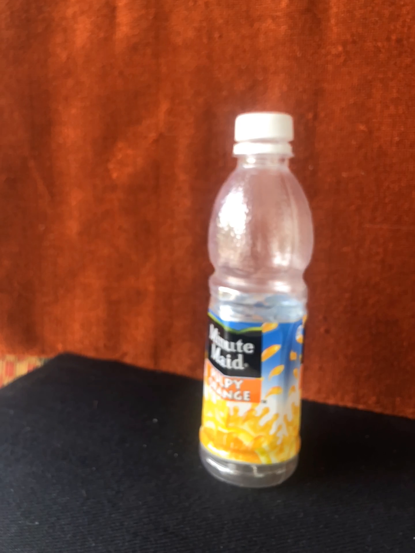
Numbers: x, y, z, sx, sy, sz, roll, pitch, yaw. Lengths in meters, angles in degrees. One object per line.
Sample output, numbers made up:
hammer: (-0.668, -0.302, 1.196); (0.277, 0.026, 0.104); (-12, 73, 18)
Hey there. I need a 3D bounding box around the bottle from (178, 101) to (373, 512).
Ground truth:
bottle: (0.036, 0.012, 0.268); (0.070, 0.199, 0.070); (3, 12, -1)
